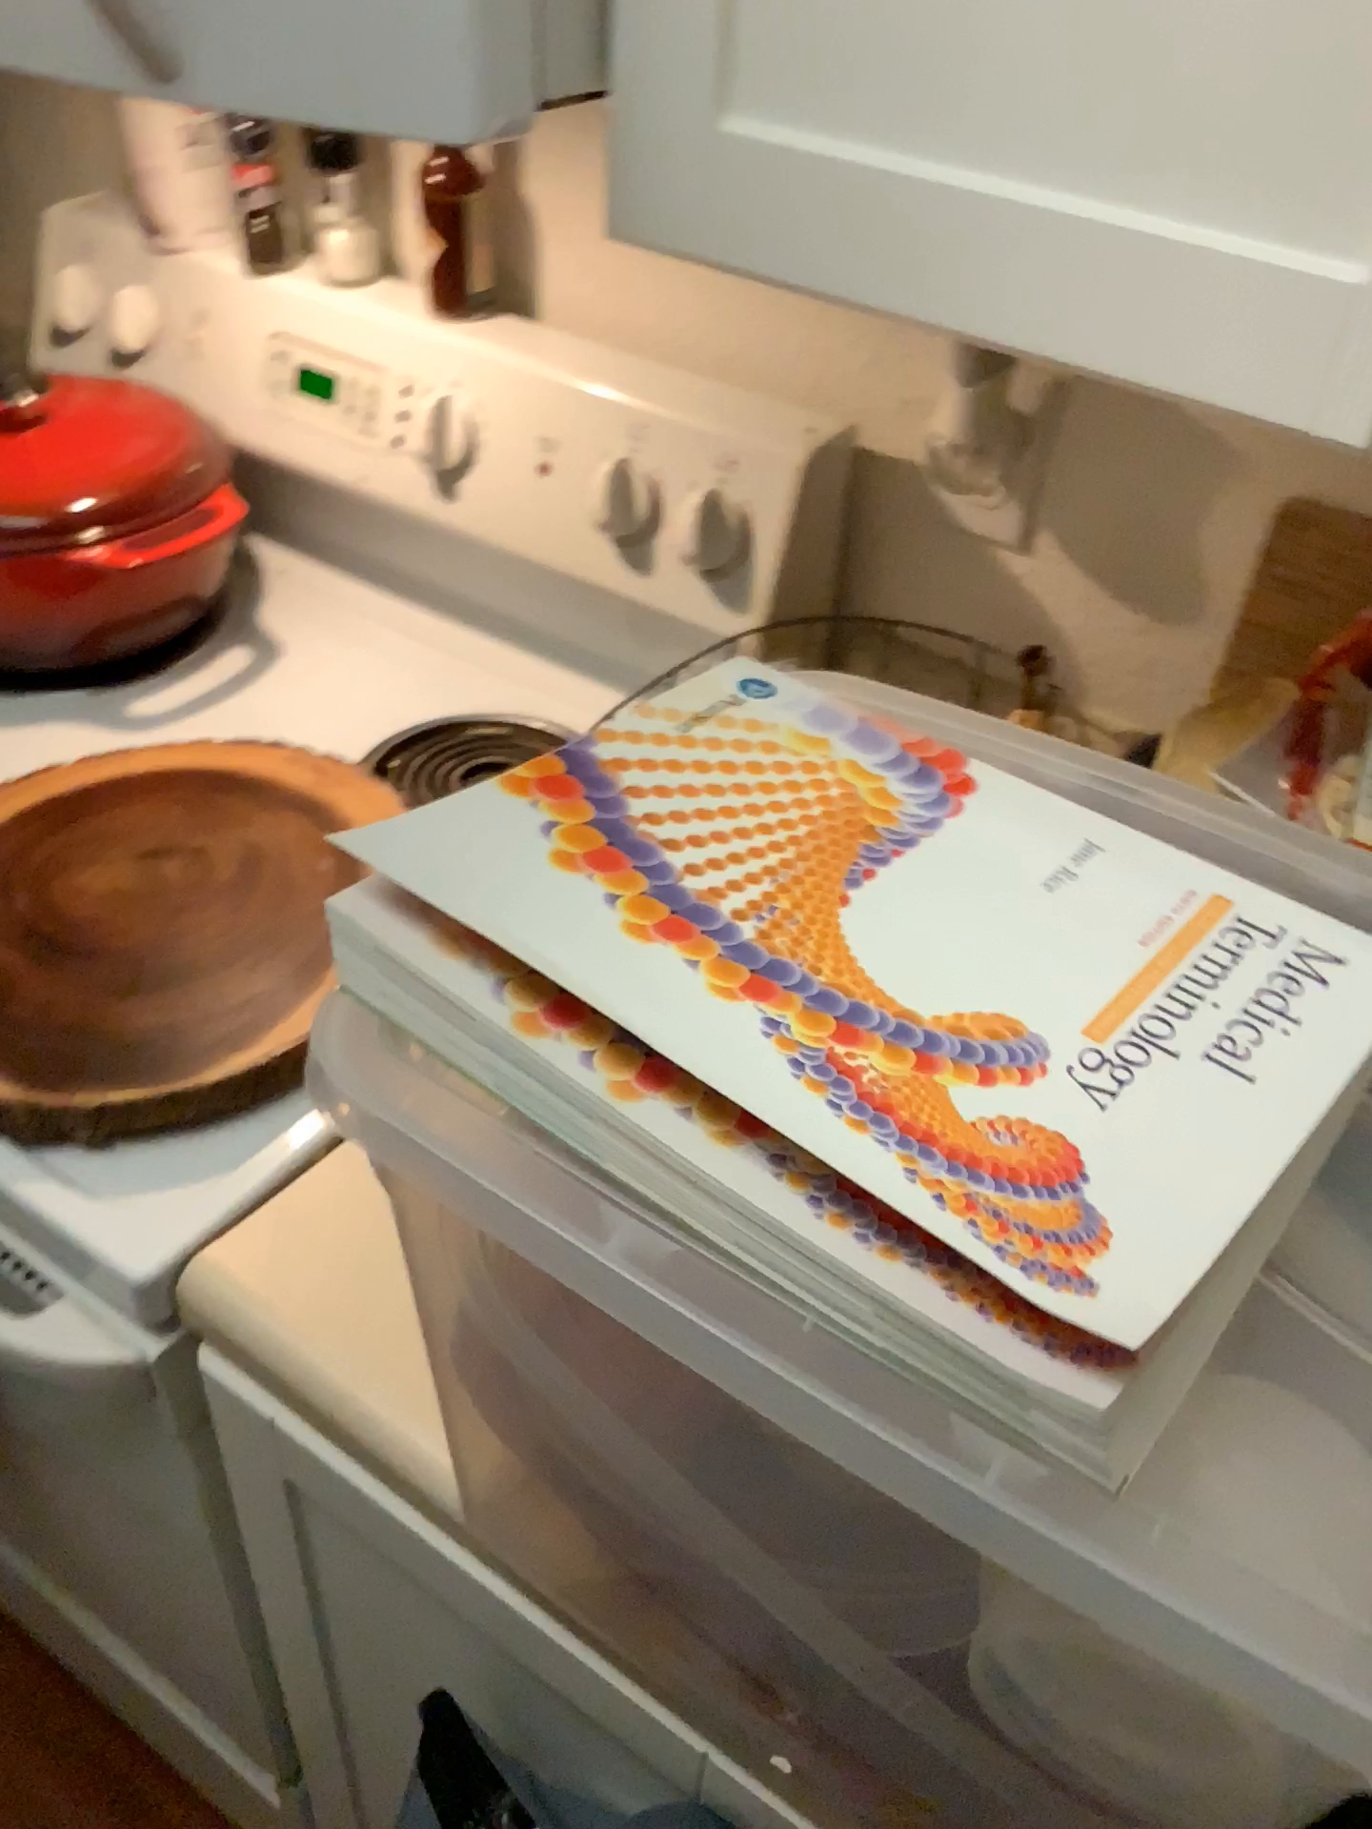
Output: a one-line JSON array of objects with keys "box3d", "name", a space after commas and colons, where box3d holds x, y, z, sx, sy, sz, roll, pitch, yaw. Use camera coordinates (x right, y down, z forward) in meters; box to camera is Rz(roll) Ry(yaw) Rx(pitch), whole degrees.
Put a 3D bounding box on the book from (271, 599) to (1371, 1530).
[{"box3d": [0.060, 0.011, 0.483, 0.290, 0.050, 0.230, 27, 45, 25], "name": "book"}]
